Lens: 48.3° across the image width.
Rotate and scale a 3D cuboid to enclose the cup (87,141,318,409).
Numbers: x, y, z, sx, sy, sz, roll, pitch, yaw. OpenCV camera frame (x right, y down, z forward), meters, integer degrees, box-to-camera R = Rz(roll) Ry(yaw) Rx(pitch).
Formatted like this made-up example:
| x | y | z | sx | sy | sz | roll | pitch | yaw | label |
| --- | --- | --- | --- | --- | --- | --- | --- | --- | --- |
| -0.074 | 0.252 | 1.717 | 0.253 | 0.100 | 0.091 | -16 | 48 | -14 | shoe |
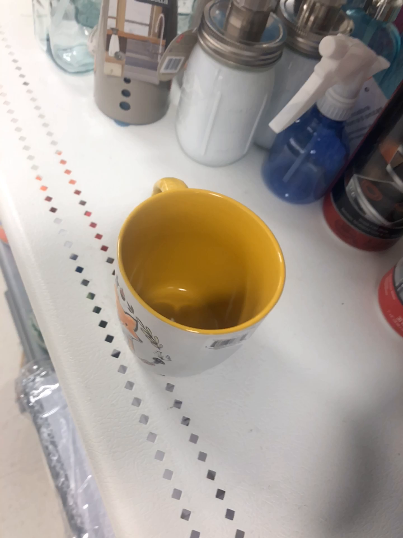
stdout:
| x | y | z | sx | sy | sz | roll | pitch | yaw | label |
| --- | --- | --- | --- | --- | --- | --- | --- | --- | --- |
| -0.013 | 0.001 | 0.292 | 0.099 | 0.093 | 0.133 | -8 | 60 | -19 | cup |
